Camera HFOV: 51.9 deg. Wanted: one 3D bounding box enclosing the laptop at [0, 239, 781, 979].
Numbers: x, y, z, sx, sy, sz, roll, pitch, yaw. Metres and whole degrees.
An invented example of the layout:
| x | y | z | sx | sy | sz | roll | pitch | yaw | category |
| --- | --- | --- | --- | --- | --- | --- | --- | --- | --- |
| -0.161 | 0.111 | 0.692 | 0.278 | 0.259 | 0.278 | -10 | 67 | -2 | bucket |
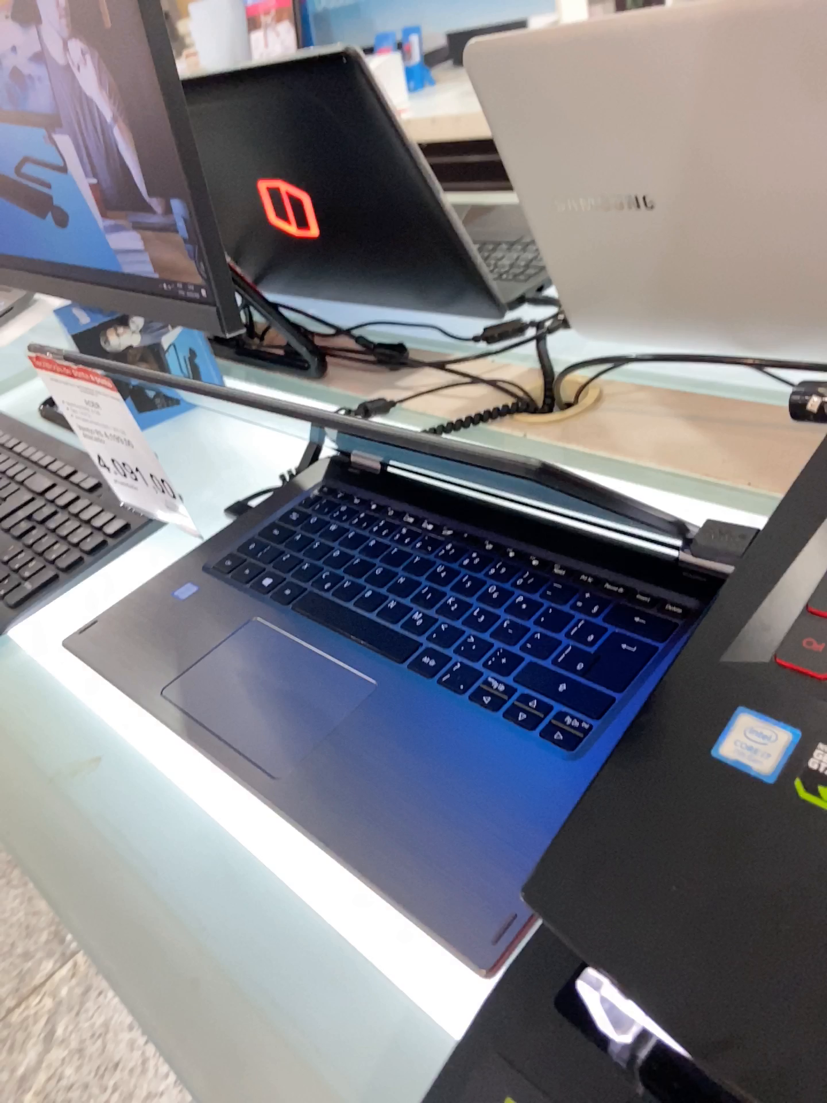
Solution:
| x | y | z | sx | sy | sz | roll | pitch | yaw | category |
| --- | --- | --- | --- | --- | --- | --- | --- | --- | --- |
| -0.039 | -0.024 | 0.403 | 0.329 | 0.154 | 0.219 | 20 | 50 | 41 | laptop |
